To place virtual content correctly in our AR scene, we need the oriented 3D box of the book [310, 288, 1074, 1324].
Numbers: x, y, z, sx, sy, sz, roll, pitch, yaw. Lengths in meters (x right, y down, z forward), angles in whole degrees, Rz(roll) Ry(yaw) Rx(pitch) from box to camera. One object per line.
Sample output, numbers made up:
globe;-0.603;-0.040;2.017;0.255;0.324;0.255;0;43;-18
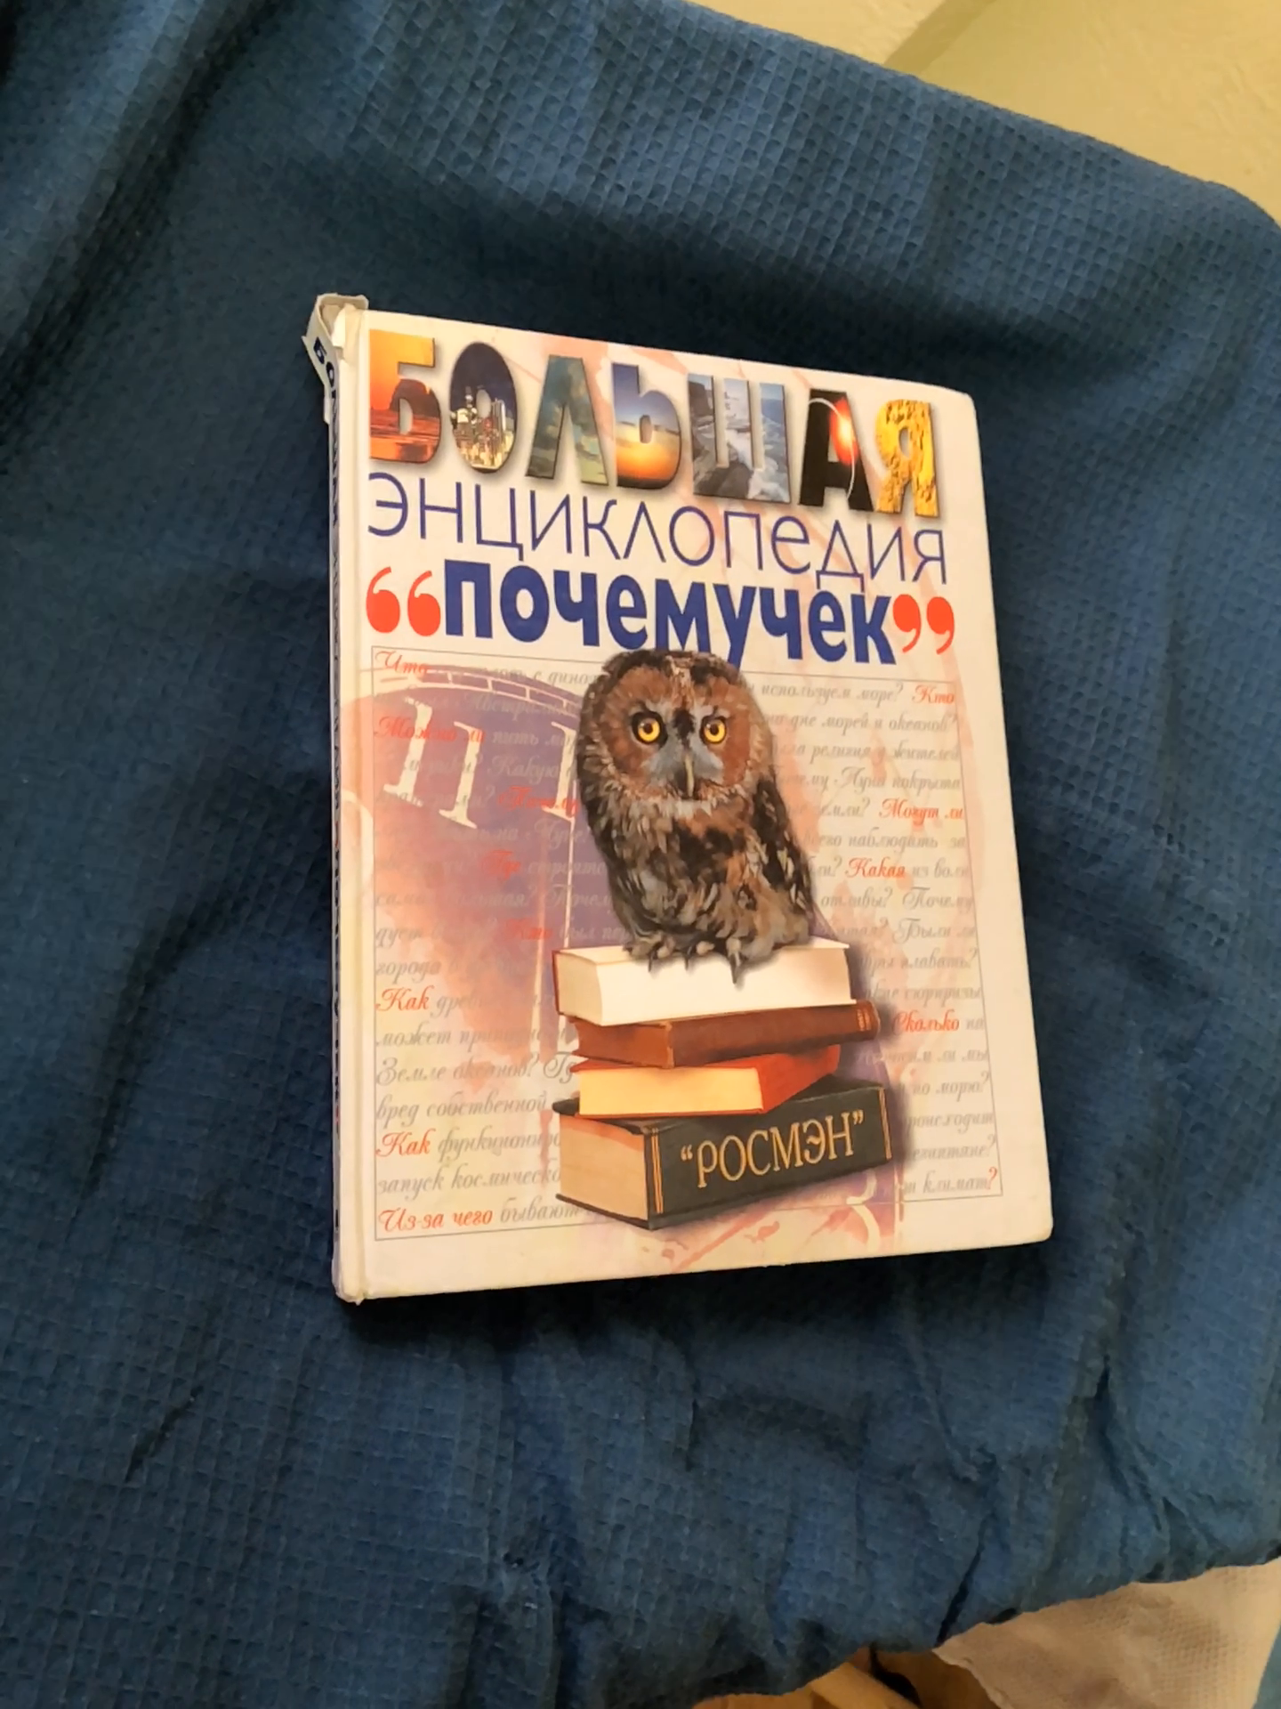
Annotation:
book;0.015;-0.020;0.455;0.236;0.030;0.305;1;78;-19
